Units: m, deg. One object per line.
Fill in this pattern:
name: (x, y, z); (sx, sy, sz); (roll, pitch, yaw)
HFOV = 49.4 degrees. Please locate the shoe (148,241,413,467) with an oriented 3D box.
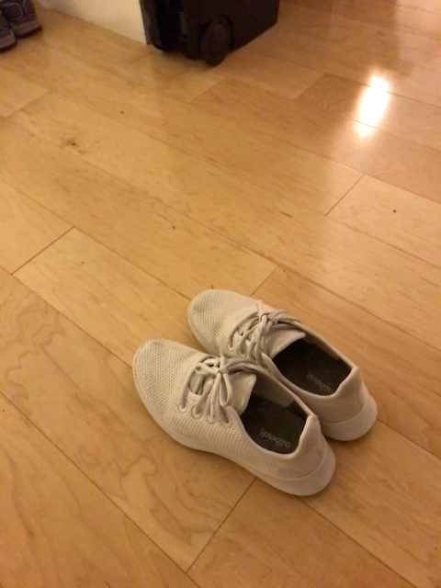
shoe: (0.061, 0.057, 0.568); (0.281, 0.070, 0.120); (32, 61, 26)

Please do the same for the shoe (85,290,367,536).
shoe: (0.002, 0.124, 0.552); (0.280, 0.089, 0.131); (27, 59, 23)

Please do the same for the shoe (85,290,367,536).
shoe: (0.002, 0.124, 0.552); (0.280, 0.089, 0.131); (27, 59, 23)
